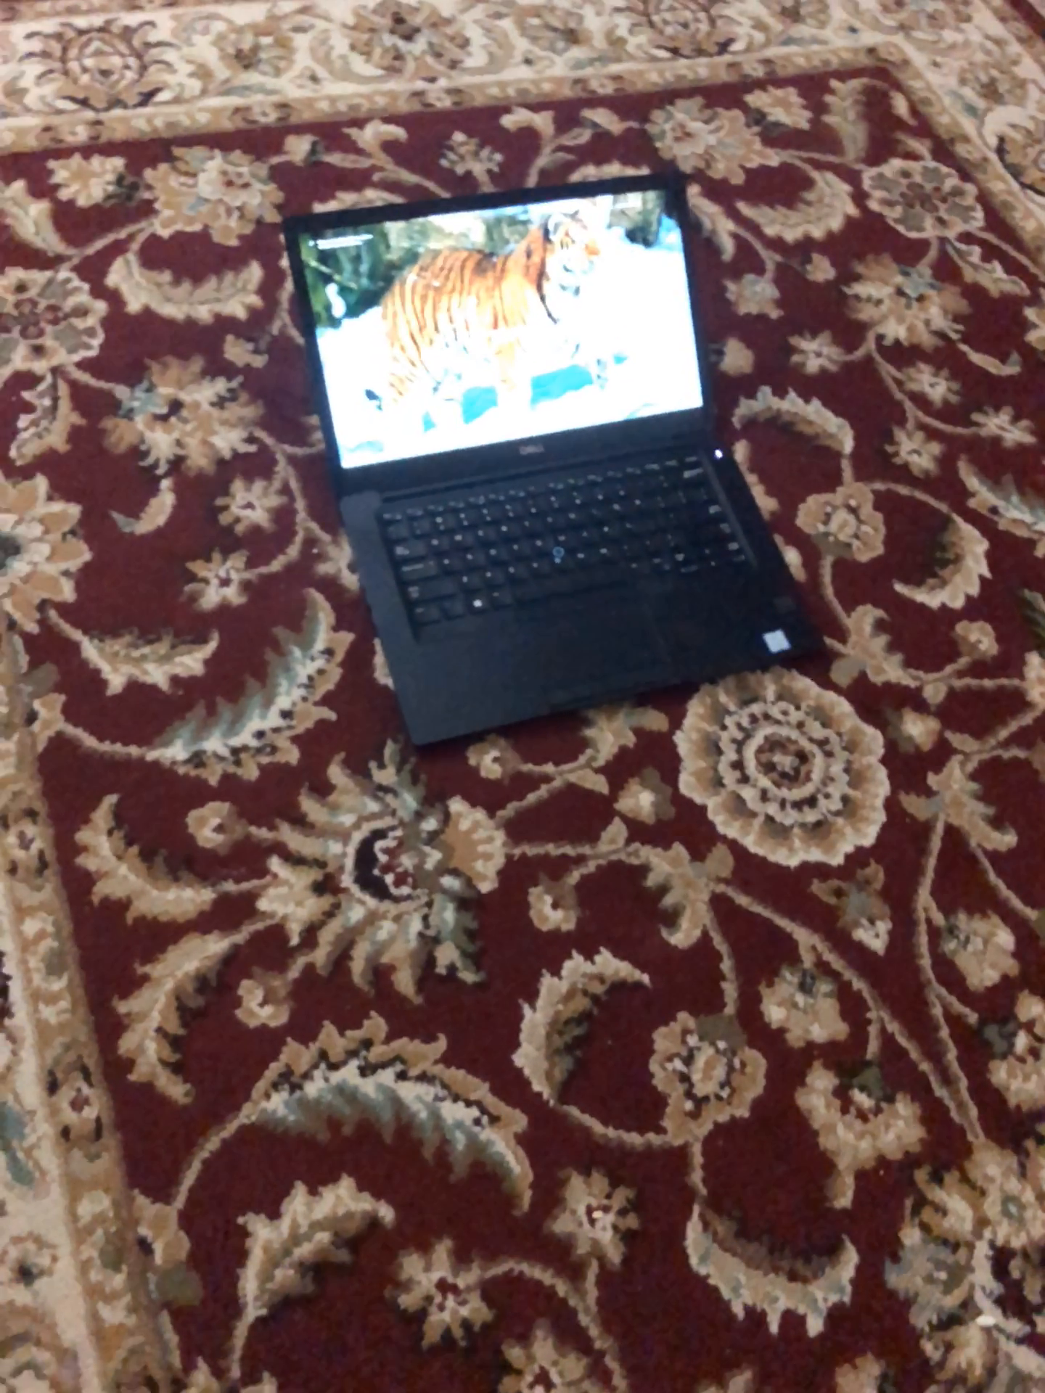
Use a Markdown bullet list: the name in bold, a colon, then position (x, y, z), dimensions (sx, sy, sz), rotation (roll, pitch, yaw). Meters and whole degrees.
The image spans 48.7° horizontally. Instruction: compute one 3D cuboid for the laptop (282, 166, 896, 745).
- **laptop**: position (0.029, -0.197, 0.869), dimensions (0.328, 0.124, 0.384), rotation (-13, 65, -14)
